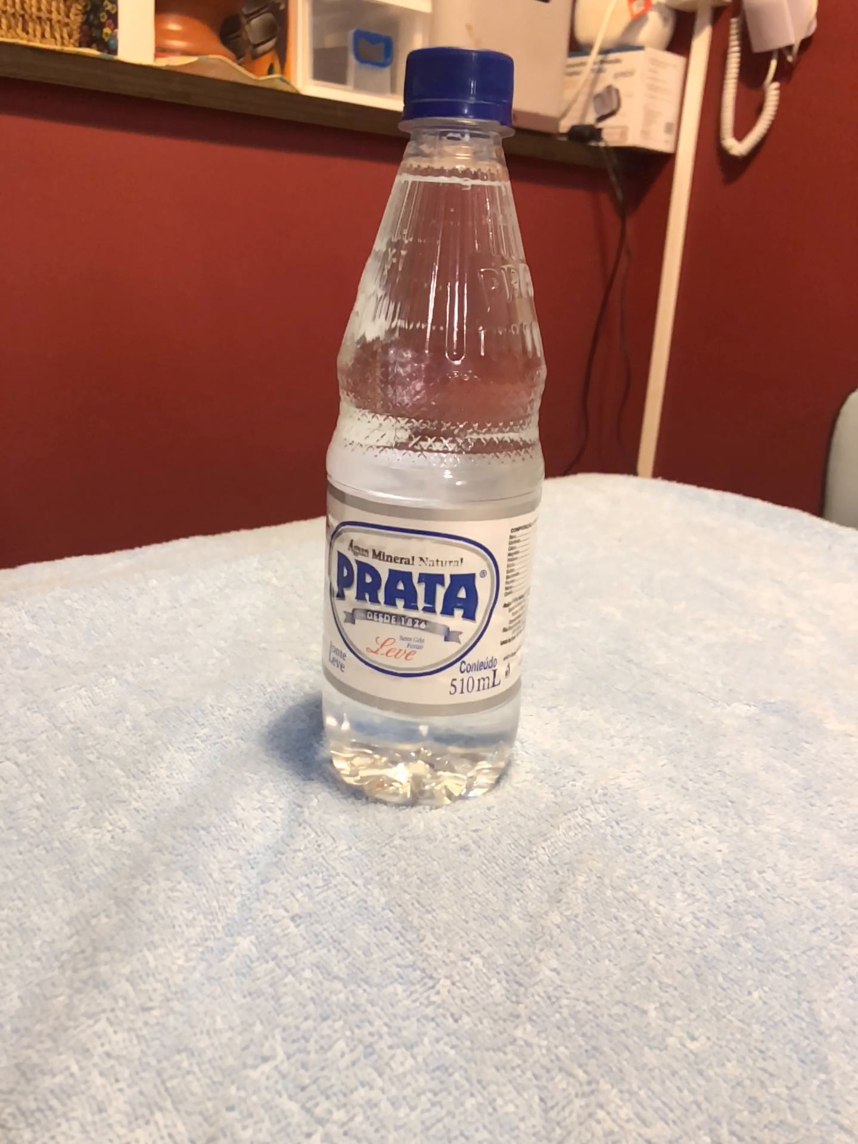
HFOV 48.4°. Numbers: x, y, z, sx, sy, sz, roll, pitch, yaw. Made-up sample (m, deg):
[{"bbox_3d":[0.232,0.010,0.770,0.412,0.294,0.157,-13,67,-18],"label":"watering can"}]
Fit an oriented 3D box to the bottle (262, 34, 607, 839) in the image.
[{"bbox_3d":[0.000,-0.038,0.300,0.080,0.219,0.070,8,19,14],"label":"bottle"}]
